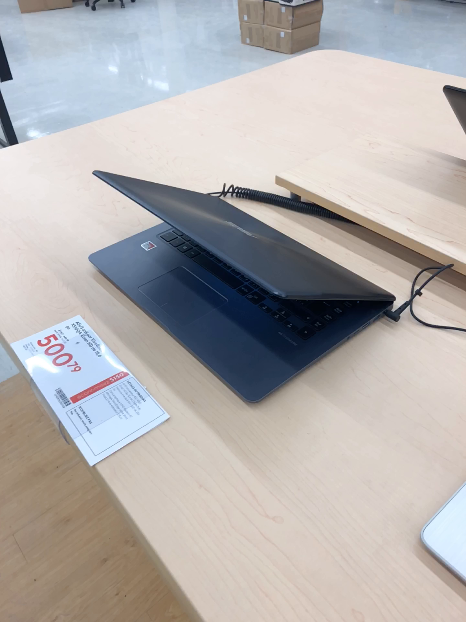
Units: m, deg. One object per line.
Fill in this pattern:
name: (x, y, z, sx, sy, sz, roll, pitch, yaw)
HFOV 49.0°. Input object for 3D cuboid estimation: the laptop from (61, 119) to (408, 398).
laptop: (-0.010, -0.096, 0.645, 0.232, 0.136, 0.346, -31, 49, -28)
